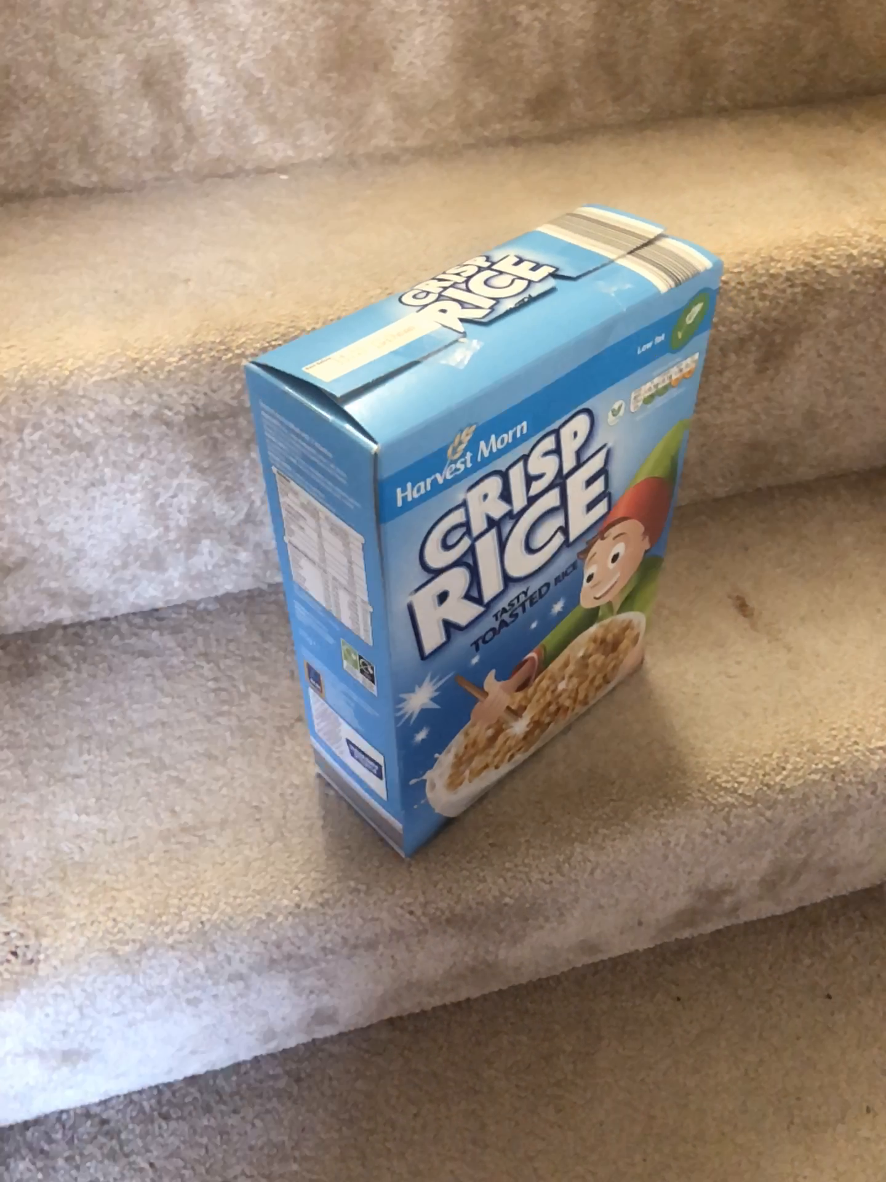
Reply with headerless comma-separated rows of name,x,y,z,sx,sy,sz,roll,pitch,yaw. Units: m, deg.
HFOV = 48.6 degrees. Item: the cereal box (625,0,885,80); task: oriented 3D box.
cereal box,1.241,-2.765,4.014,0.760,0.993,0.795,-2,44,-1
